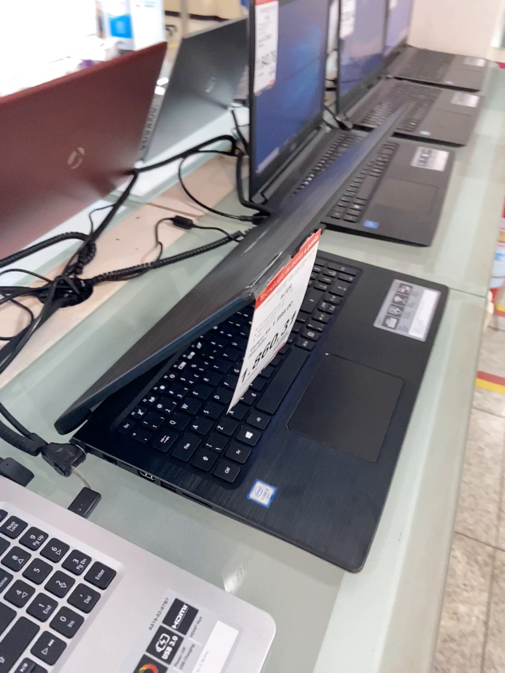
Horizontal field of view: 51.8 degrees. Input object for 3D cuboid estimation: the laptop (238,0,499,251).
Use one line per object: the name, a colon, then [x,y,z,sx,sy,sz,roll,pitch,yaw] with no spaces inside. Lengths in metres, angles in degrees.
laptop: [0.184,-0.375,0.800,0.284,0.245,0.433,16,40,14]

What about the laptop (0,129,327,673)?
laptop: [-0.203,0.147,0.148,0.302,0.233,0.397,19,43,18]

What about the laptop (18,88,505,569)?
laptop: [0.049,-0.058,0.455,0.233,0.186,0.375,19,42,18]
